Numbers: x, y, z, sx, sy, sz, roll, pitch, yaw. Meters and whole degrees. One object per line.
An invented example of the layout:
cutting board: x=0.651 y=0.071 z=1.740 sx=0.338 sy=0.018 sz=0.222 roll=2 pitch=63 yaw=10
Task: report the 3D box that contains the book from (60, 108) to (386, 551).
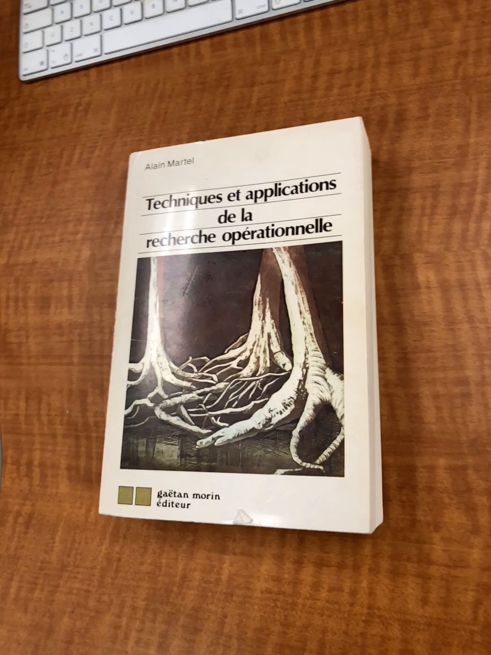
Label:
book: x=-0.007 y=0.002 z=0.334 sx=0.170 sy=0.070 sz=0.230 roll=-3 pitch=76 yaw=18
